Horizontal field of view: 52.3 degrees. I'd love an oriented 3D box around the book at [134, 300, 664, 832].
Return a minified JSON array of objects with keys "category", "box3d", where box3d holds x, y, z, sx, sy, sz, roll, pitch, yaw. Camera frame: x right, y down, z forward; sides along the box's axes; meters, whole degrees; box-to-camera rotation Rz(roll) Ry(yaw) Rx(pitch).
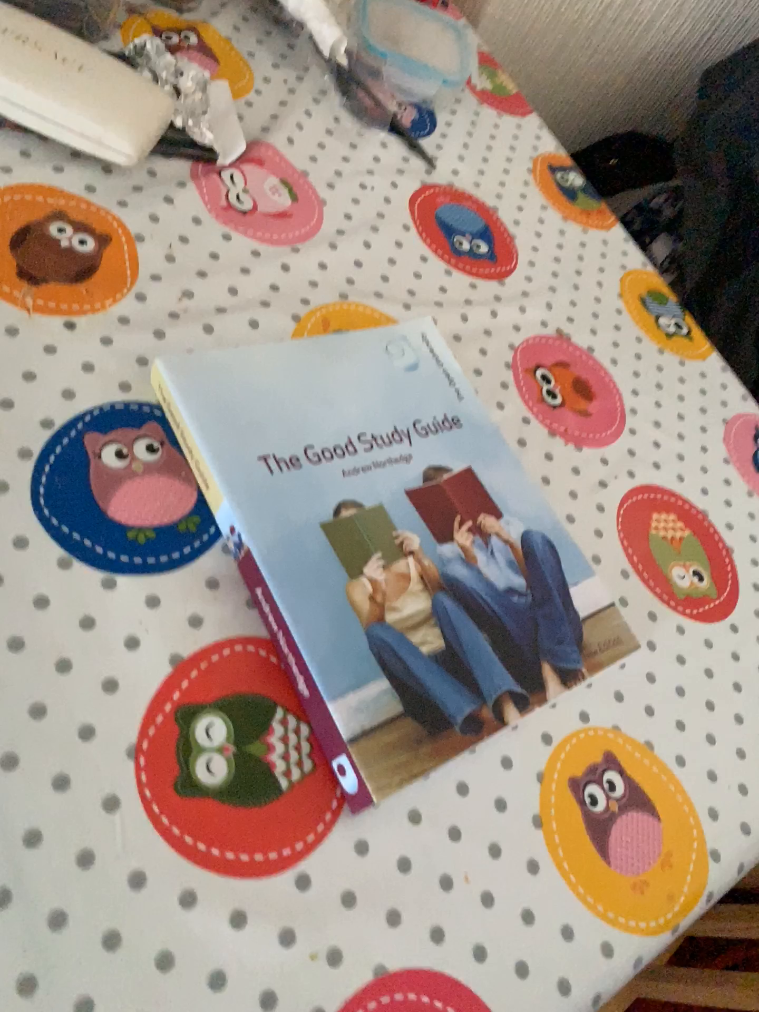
[{"category":"book","box3d":[0.014,0.004,0.431,0.211,0.030,0.261,-16,69,-34]}]
